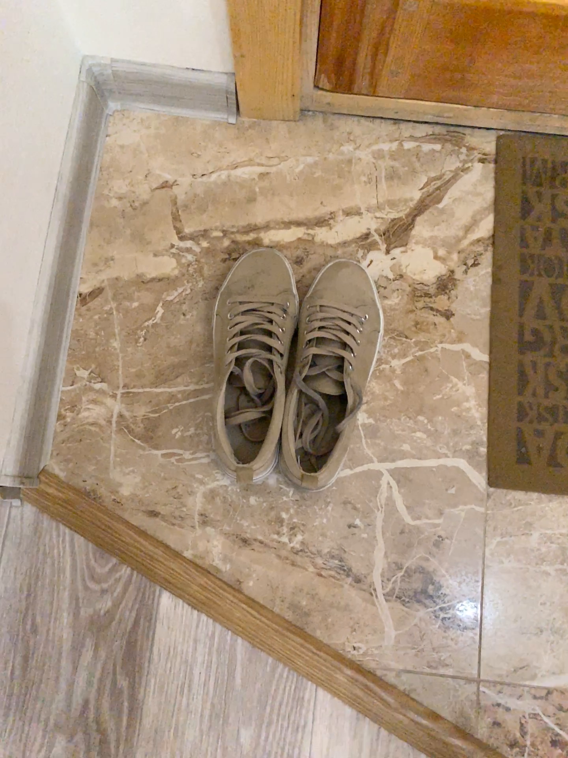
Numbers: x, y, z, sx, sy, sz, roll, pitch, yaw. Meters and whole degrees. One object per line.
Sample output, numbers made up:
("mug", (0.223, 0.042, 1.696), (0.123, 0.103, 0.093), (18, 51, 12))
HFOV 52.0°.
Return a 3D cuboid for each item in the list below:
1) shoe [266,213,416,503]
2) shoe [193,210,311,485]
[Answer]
("shoe", (0.051, -0.014, 0.544), (0.090, 0.100, 0.240), (10, 79, 2))
("shoe", (-0.025, -0.024, 0.554), (0.090, 0.100, 0.240), (2, 79, 0))
